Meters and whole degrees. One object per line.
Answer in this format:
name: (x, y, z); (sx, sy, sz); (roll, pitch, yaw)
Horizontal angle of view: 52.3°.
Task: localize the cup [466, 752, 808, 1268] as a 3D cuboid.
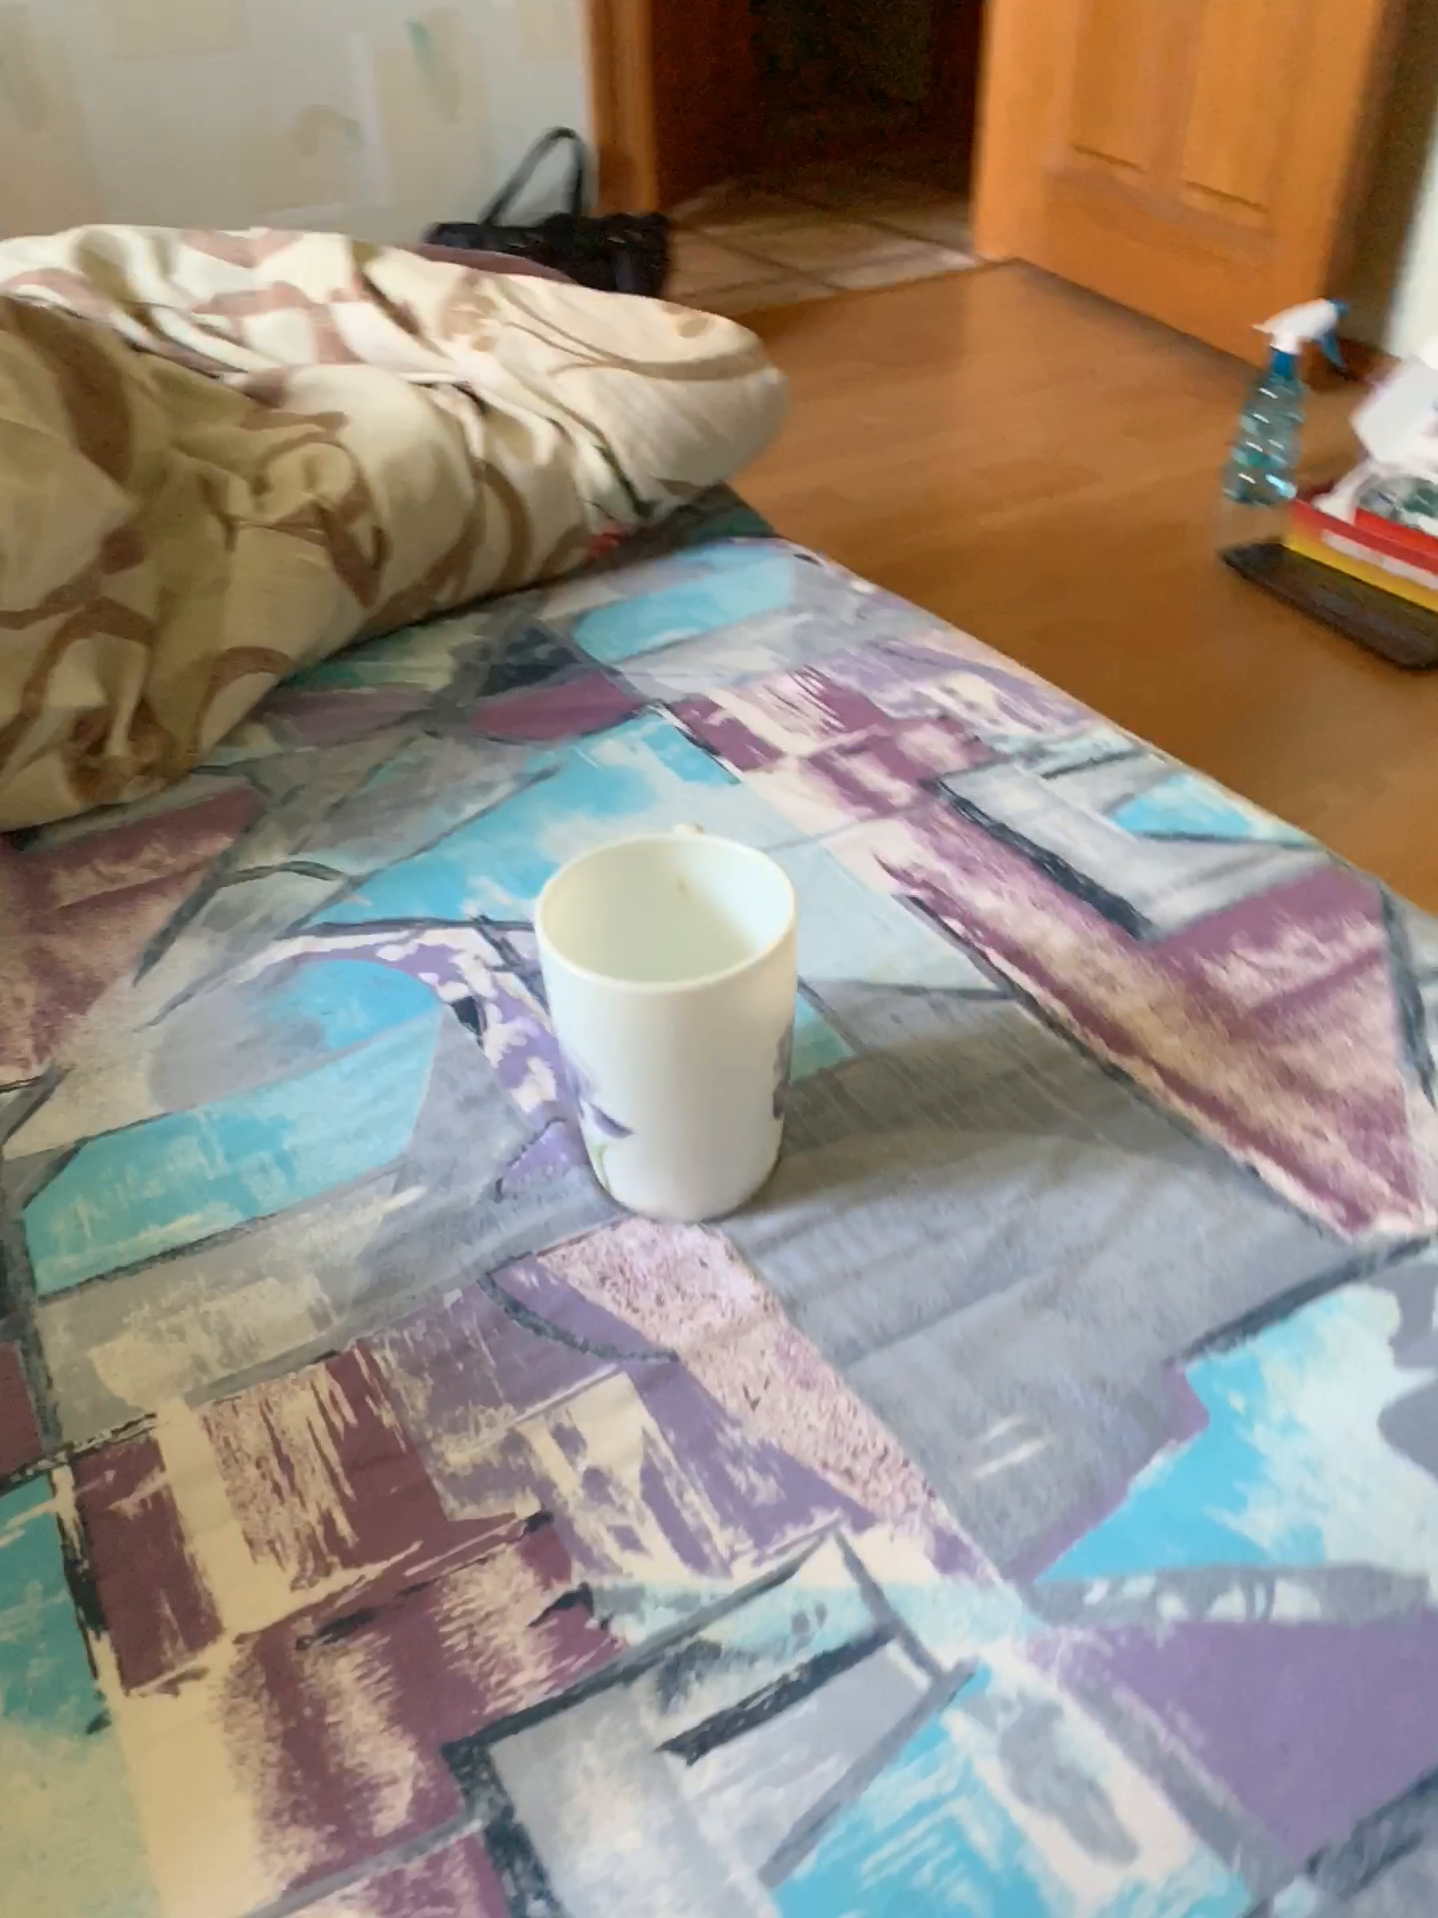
cup: (-0.019, 0.012, 0.458); (0.080, 0.099, 0.121); (5, 39, 5)
